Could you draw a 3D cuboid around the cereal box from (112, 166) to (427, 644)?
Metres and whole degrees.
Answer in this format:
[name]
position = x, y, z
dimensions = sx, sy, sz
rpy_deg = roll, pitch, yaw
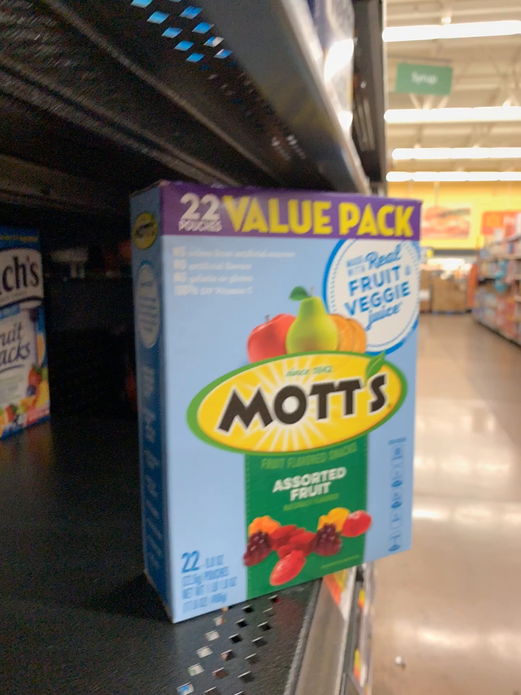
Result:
[cereal box]
position = 0.010, 0.025, 0.337
dimensions = 0.180, 0.240, 0.060
rpy_deg = -4, 8, -28
